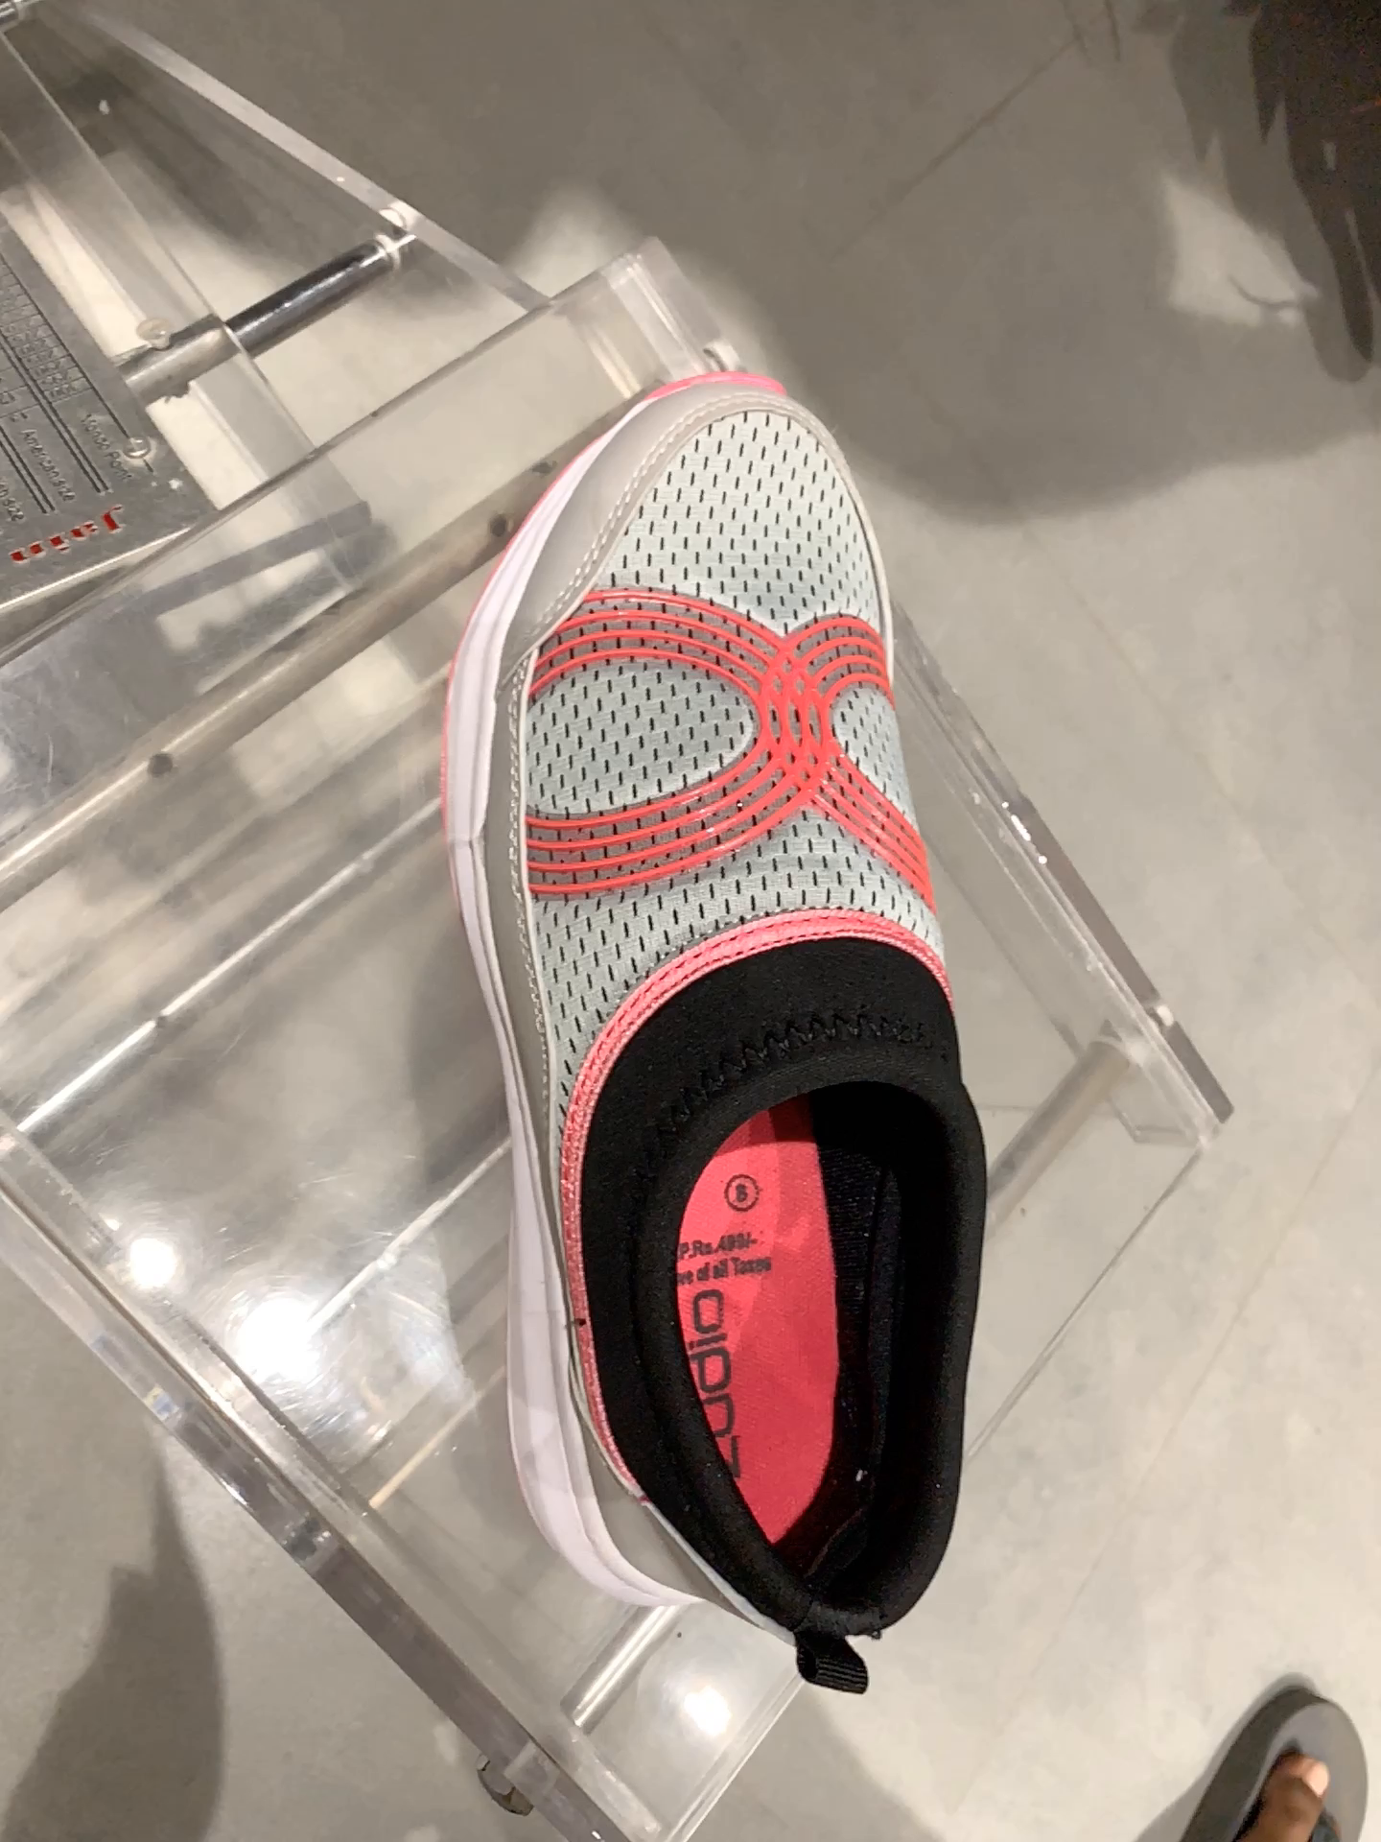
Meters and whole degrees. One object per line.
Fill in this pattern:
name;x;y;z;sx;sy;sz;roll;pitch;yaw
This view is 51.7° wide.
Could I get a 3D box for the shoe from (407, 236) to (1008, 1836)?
shoe;-0.001;0.019;0.327;0.100;0.080;0.300;0;85;-29
